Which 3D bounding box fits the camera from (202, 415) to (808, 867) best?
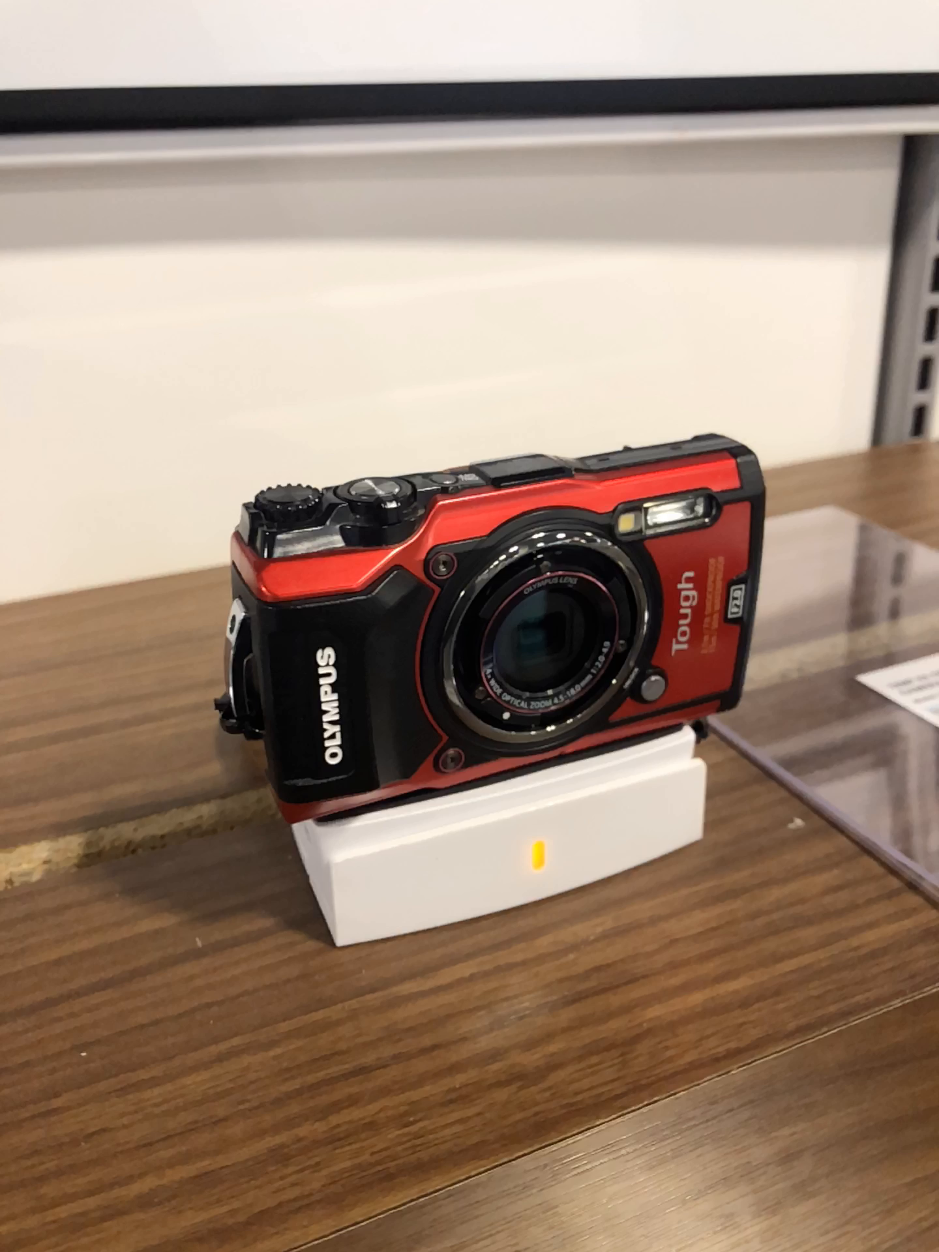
[{"bbox_3d":[0.010,-0.001,0.226,0.120,0.070,0.030,-11,25,-18],"label":"camera"}]
